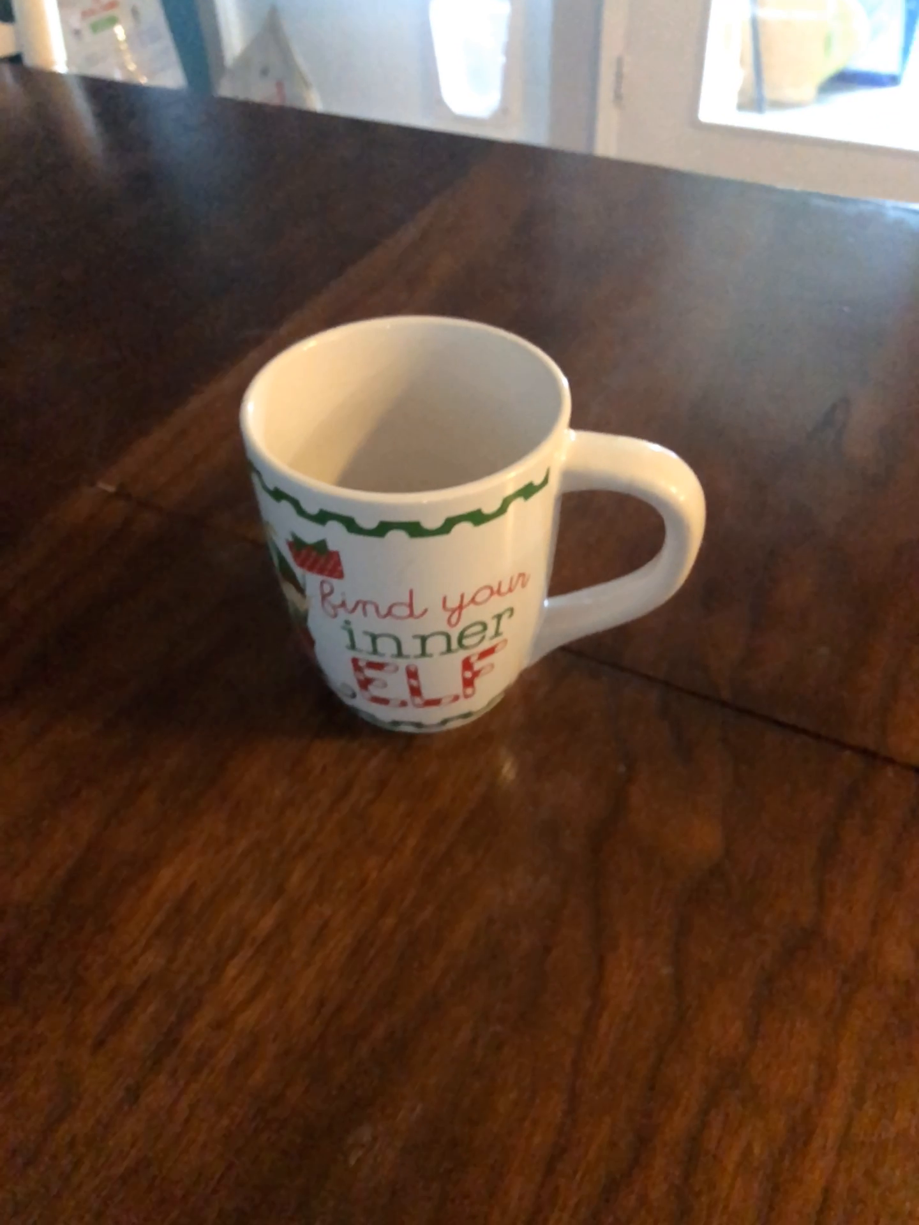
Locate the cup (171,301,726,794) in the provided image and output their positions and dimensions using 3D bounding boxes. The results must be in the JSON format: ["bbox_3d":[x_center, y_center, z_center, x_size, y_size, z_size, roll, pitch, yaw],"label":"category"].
[{"bbox_3d":[0.005,-0.026,0.374,0.160,0.120,0.110,7,45,10],"label":"cup"}]
